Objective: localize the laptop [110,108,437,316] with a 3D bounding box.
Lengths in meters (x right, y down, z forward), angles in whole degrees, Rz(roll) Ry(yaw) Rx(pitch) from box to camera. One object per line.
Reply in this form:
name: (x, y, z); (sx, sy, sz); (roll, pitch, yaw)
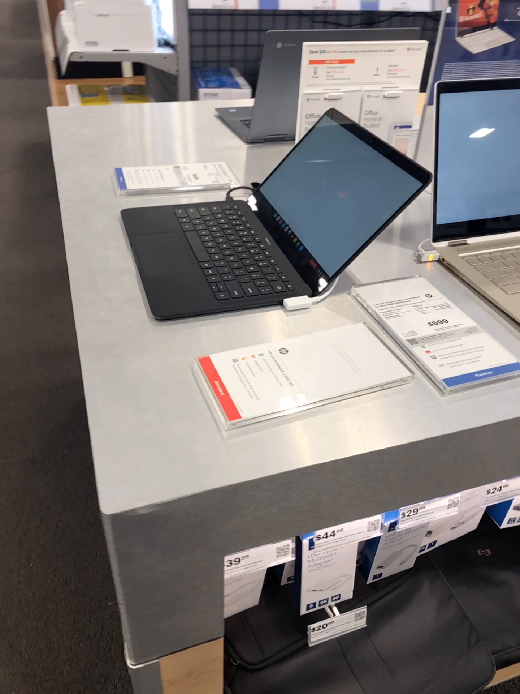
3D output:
laptop: (-0.005, -0.201, 0.765); (0.334, 0.134, 0.295); (-9, 39, -15)
